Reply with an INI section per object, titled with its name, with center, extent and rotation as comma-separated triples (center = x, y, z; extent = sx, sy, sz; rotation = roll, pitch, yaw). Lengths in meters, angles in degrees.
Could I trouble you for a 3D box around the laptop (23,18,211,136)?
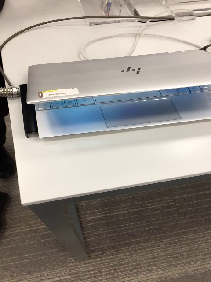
[laptop]
center = 0.043, -0.113, 0.466
extent = 0.334, 0.080, 0.171
rotation = -8, 53, -3
